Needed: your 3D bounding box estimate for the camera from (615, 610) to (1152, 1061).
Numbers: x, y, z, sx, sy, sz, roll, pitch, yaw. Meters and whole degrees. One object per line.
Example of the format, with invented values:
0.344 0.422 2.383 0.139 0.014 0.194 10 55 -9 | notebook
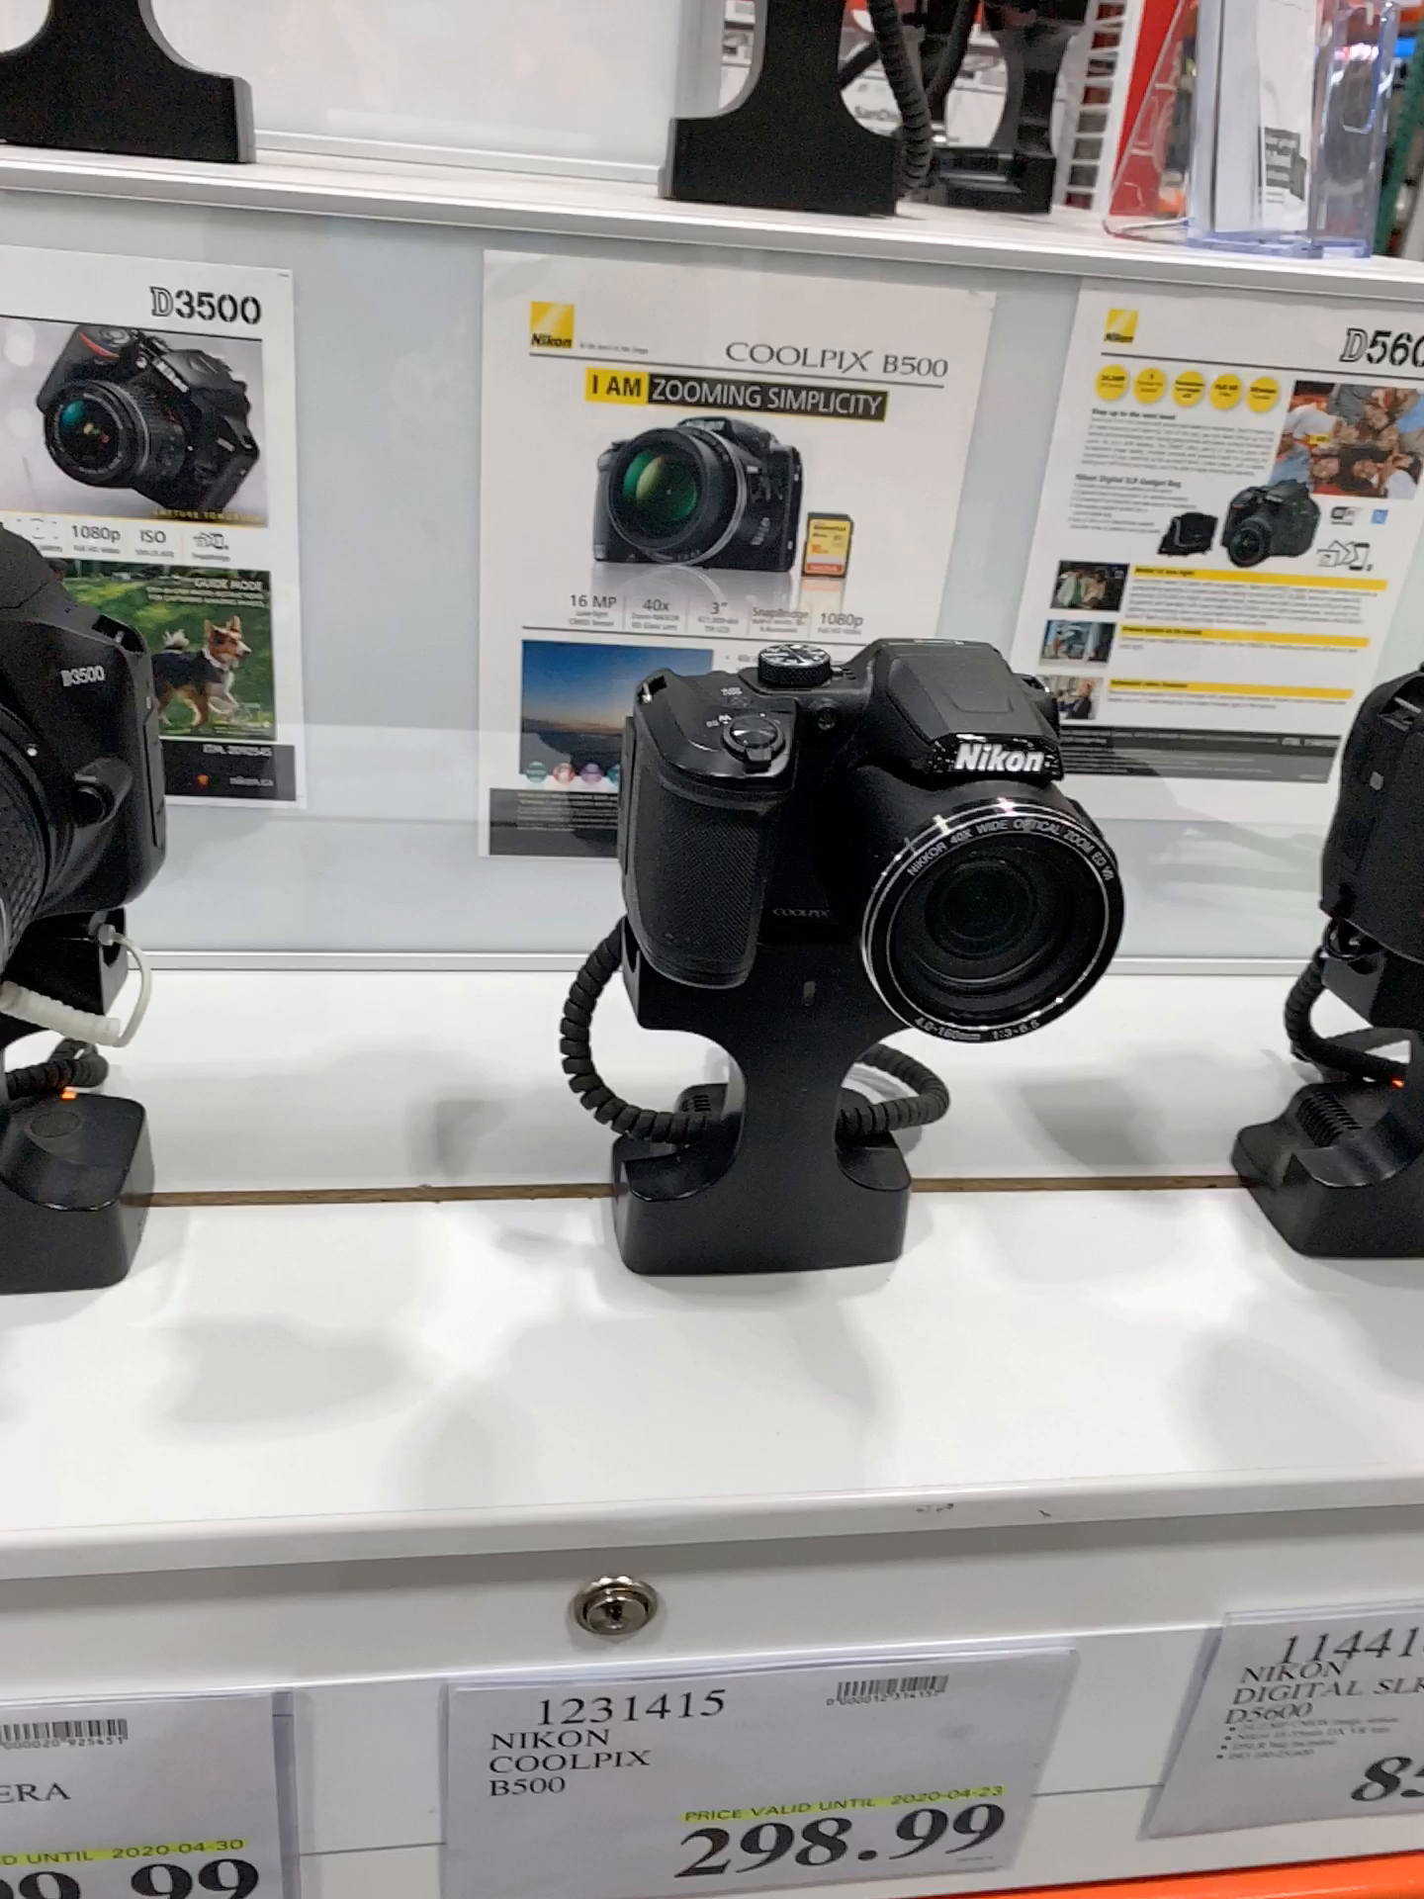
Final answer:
0.036 -0.031 0.372 0.110 0.089 0.071 -1 29 -11 | camera
